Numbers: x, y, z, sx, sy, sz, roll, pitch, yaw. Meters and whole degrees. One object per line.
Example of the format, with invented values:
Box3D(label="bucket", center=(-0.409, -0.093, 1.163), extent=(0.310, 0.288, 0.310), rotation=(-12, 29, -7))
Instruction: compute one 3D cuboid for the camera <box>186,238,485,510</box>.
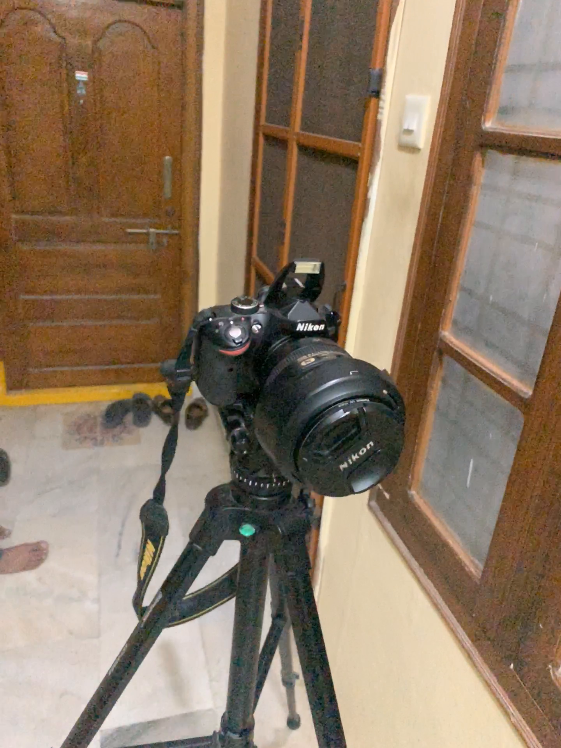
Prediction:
Box3D(label="camera", center=(0.021, -0.019, 0.450), extent=(0.150, 0.129, 0.201), rotation=(-4, 26, -19))
